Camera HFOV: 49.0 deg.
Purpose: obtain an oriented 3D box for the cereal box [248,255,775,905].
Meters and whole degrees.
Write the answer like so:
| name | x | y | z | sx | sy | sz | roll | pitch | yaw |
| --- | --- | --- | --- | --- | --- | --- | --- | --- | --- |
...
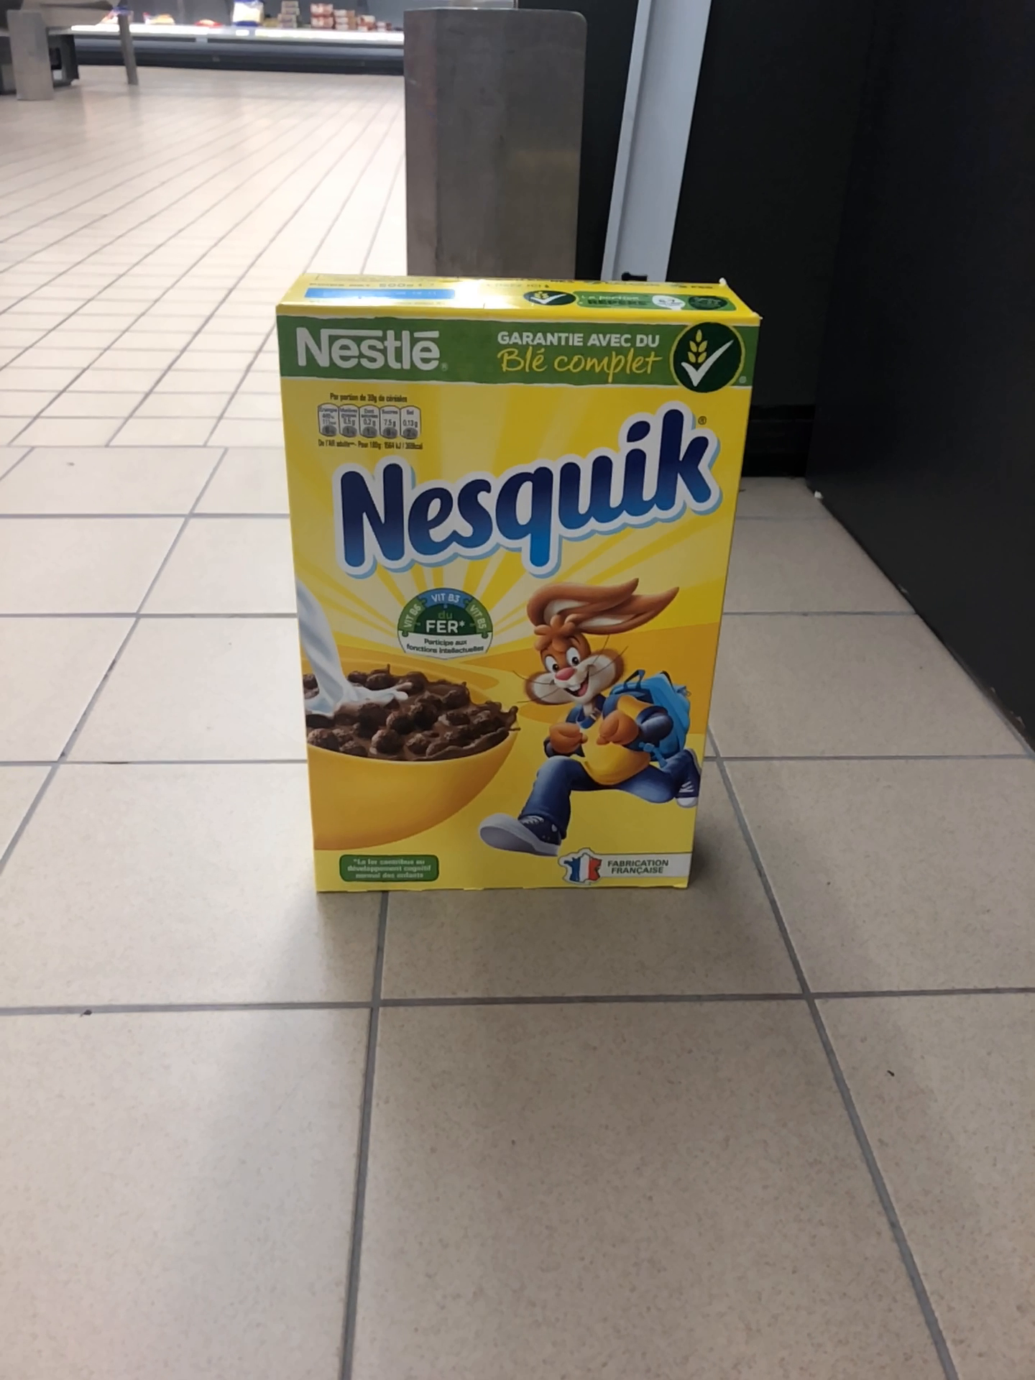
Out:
| name | x | y | z | sx | sy | sz | roll | pitch | yaw |
| --- | --- | --- | --- | --- | --- | --- | --- | --- | --- |
| cereal box | -0.005 | -0.039 | 0.534 | 0.200 | 0.298 | 0.070 | 0 | 29 | -3 |
